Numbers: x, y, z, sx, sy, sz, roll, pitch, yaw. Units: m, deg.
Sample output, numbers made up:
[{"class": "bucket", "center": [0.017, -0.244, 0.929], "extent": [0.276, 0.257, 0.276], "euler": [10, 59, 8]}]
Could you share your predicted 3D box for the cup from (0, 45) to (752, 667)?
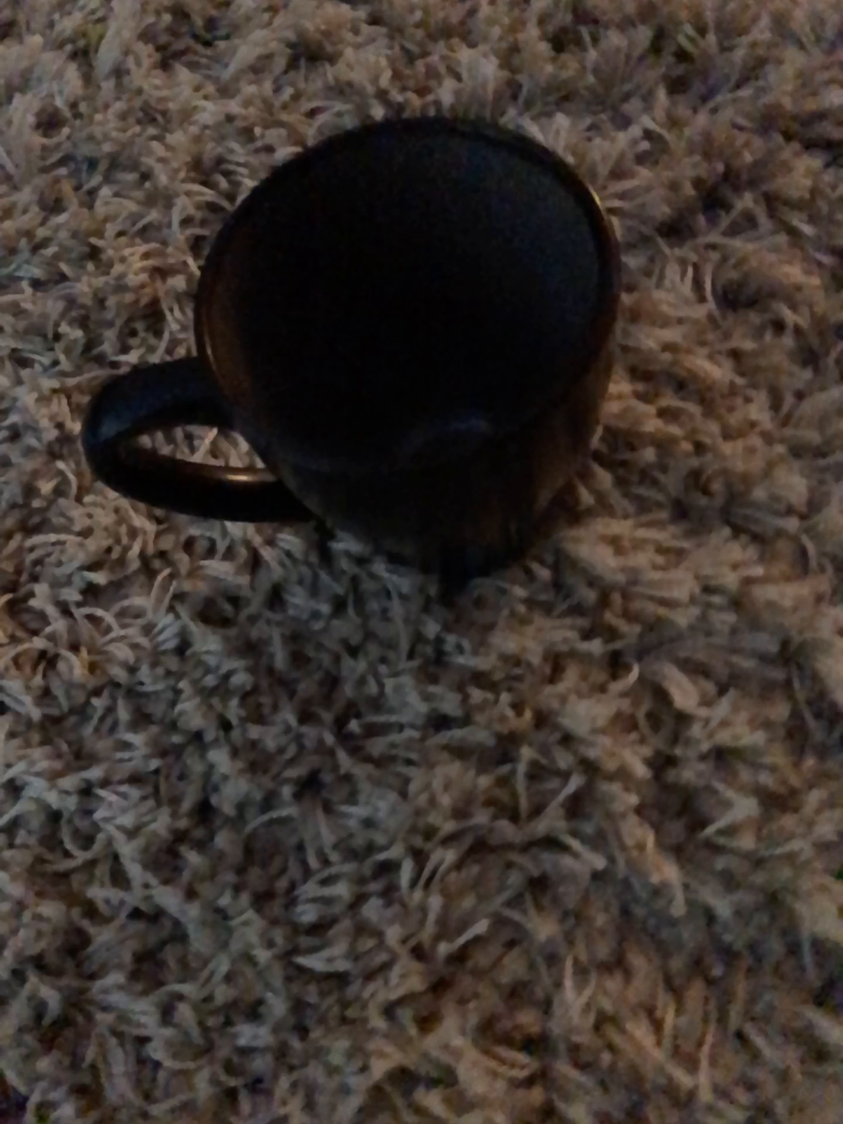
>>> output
[{"class": "cup", "center": [-0.012, -0.040, 0.225], "extent": [0.140, 0.090, 0.090], "euler": [-9, 67, 4]}]
